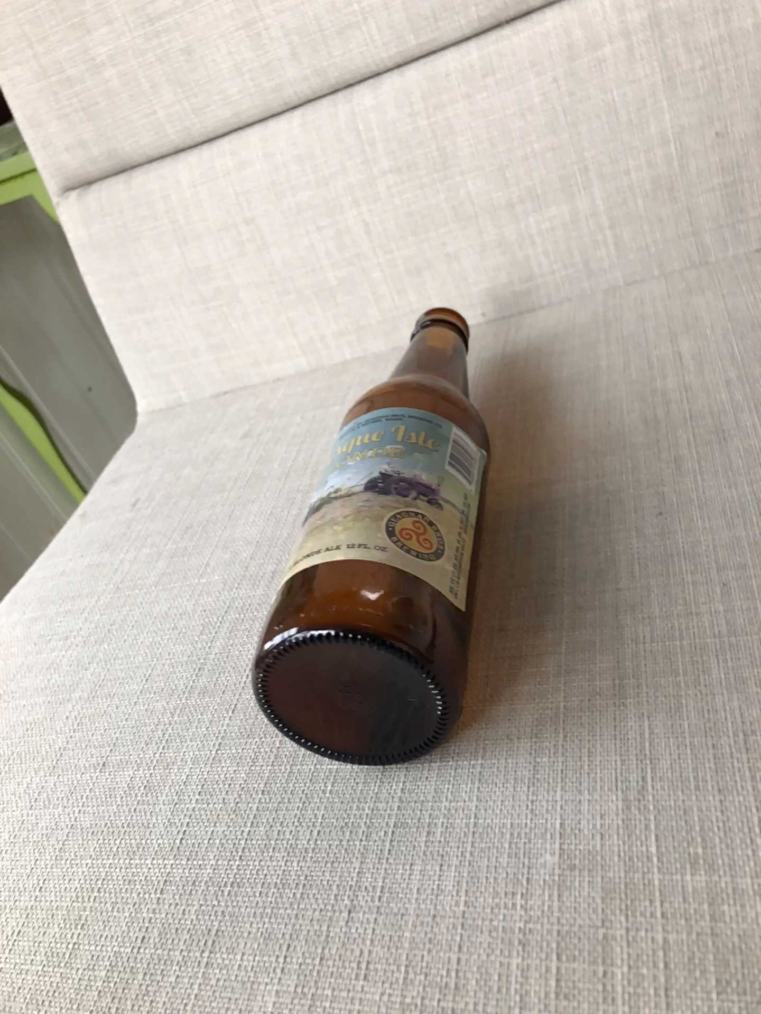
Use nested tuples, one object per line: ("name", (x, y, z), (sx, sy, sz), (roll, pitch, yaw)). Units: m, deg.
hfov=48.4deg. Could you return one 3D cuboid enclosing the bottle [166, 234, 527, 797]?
("bottle", (0.006, -0.017, 0.314), (0.065, 0.060, 0.232), (-23, 30, 27))
